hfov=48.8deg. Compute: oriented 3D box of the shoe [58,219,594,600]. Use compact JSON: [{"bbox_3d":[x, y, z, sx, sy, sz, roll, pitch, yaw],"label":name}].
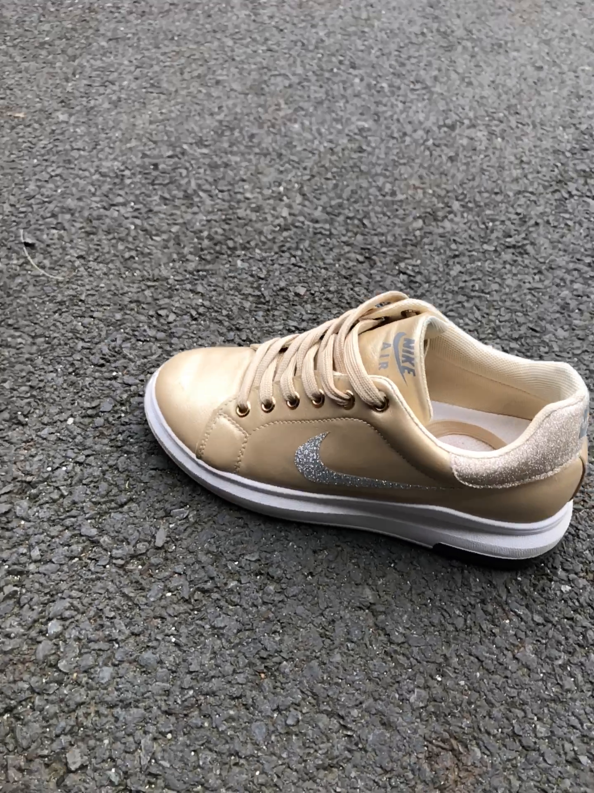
[{"bbox_3d":[0.028,0.001,0.360,0.260,0.100,0.117,13,49,10],"label":"shoe"}]
